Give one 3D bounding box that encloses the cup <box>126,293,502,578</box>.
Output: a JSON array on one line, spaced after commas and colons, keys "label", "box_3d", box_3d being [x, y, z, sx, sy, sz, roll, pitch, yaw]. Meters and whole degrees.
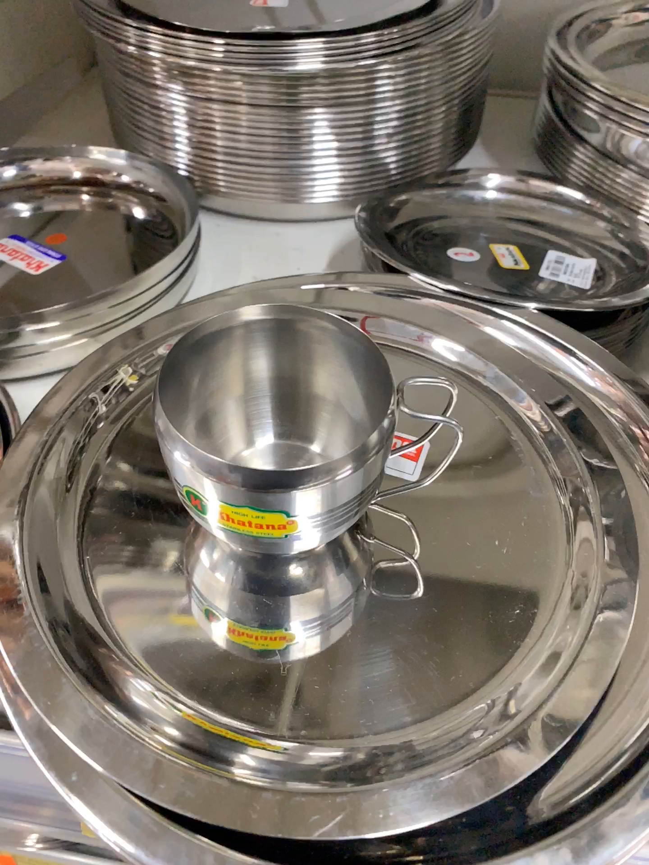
[{"label": "cup", "box_3d": [-0.001, -0.001, 0.199, 0.090, 0.040, 0.070, 3, 48, 3]}]
